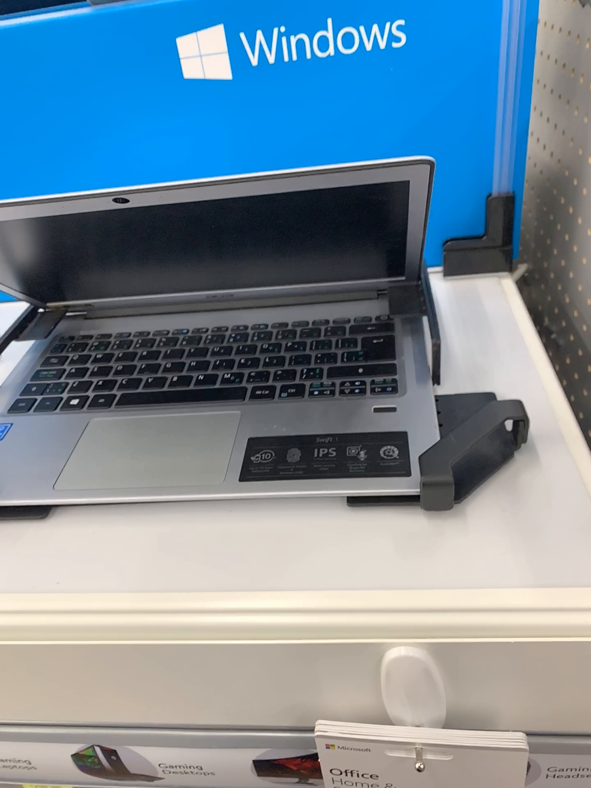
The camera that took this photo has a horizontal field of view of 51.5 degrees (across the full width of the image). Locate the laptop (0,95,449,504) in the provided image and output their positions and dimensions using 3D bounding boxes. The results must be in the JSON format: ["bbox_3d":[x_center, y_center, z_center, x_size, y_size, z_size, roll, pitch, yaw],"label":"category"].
[{"bbox_3d":[-0.076,-0.065,0.374,0.305,0.141,0.214,-3,36,9],"label":"laptop"}]
